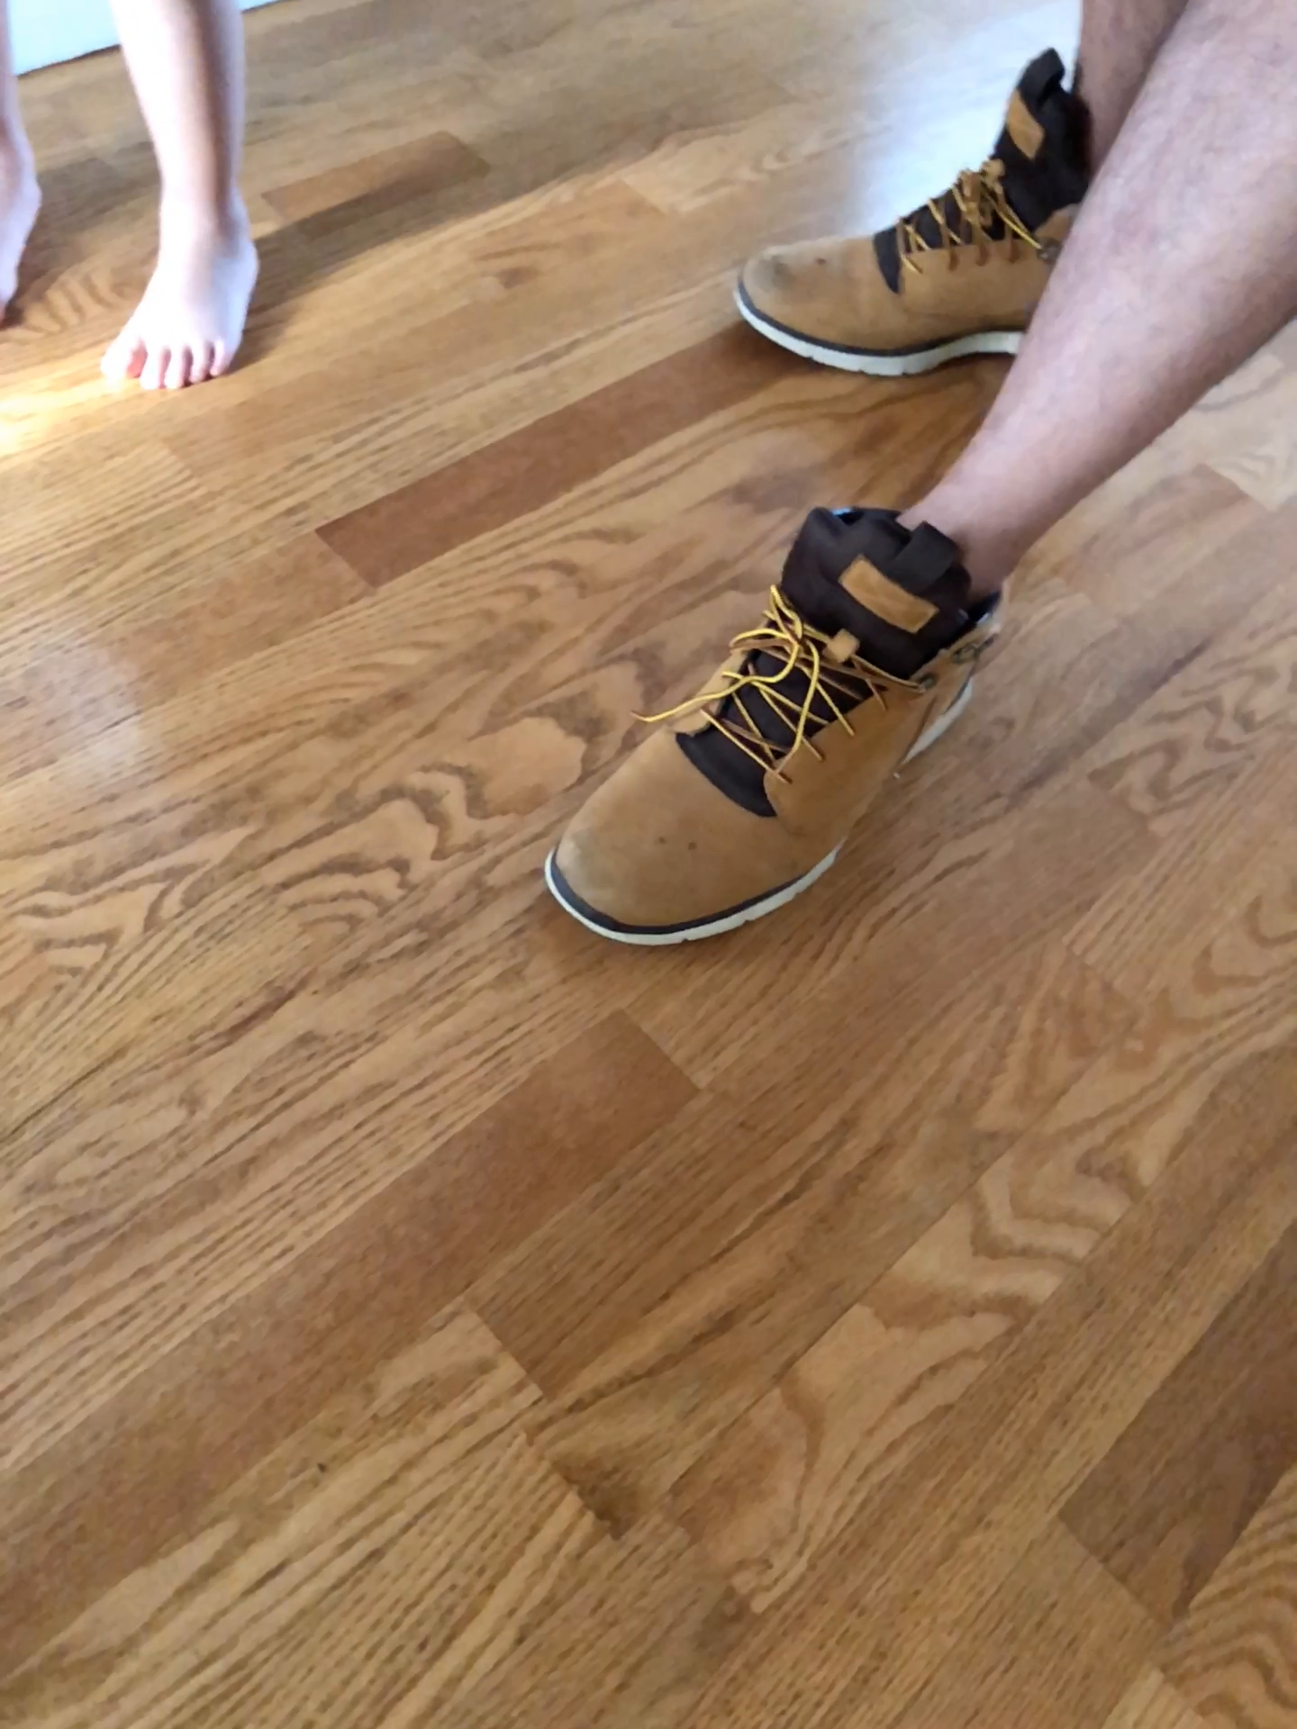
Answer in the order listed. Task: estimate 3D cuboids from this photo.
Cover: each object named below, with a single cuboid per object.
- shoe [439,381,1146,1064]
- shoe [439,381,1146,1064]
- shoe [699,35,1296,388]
[{"bbox_3d":[0.066,-0.075,0.665,0.311,0.139,0.130,-37,70,-28],"label":"shoe"},{"bbox_3d":[0.066,-0.075,0.665,0.311,0.139,0.130,-37,70,-28],"label":"shoe"},{"bbox_3d":[0.220,-0.424,0.943,0.330,0.159,0.130,-5,58,-13],"label":"shoe"}]
